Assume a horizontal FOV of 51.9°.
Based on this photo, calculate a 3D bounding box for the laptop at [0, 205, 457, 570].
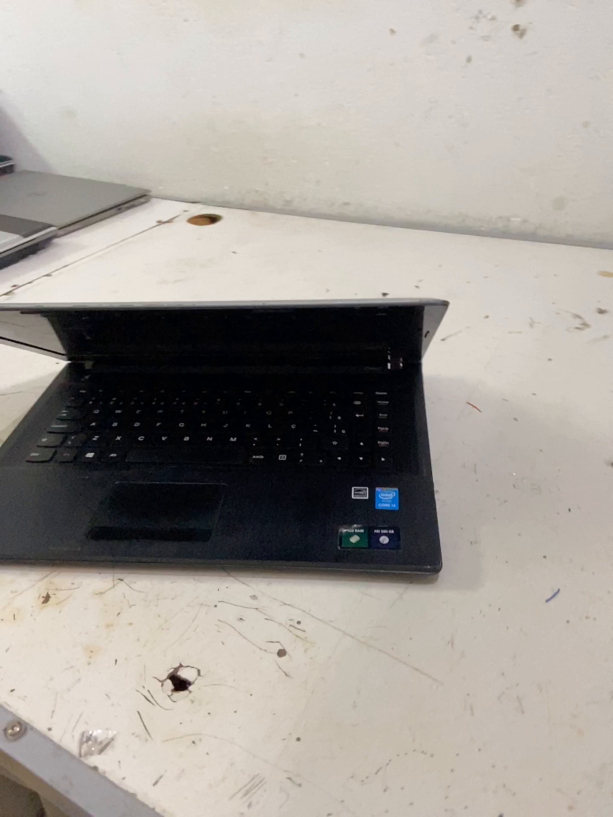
[{"bbox_3d":[-0.081,-0.032,0.469,0.344,0.148,0.246,0,35,7],"label":"laptop"}]
